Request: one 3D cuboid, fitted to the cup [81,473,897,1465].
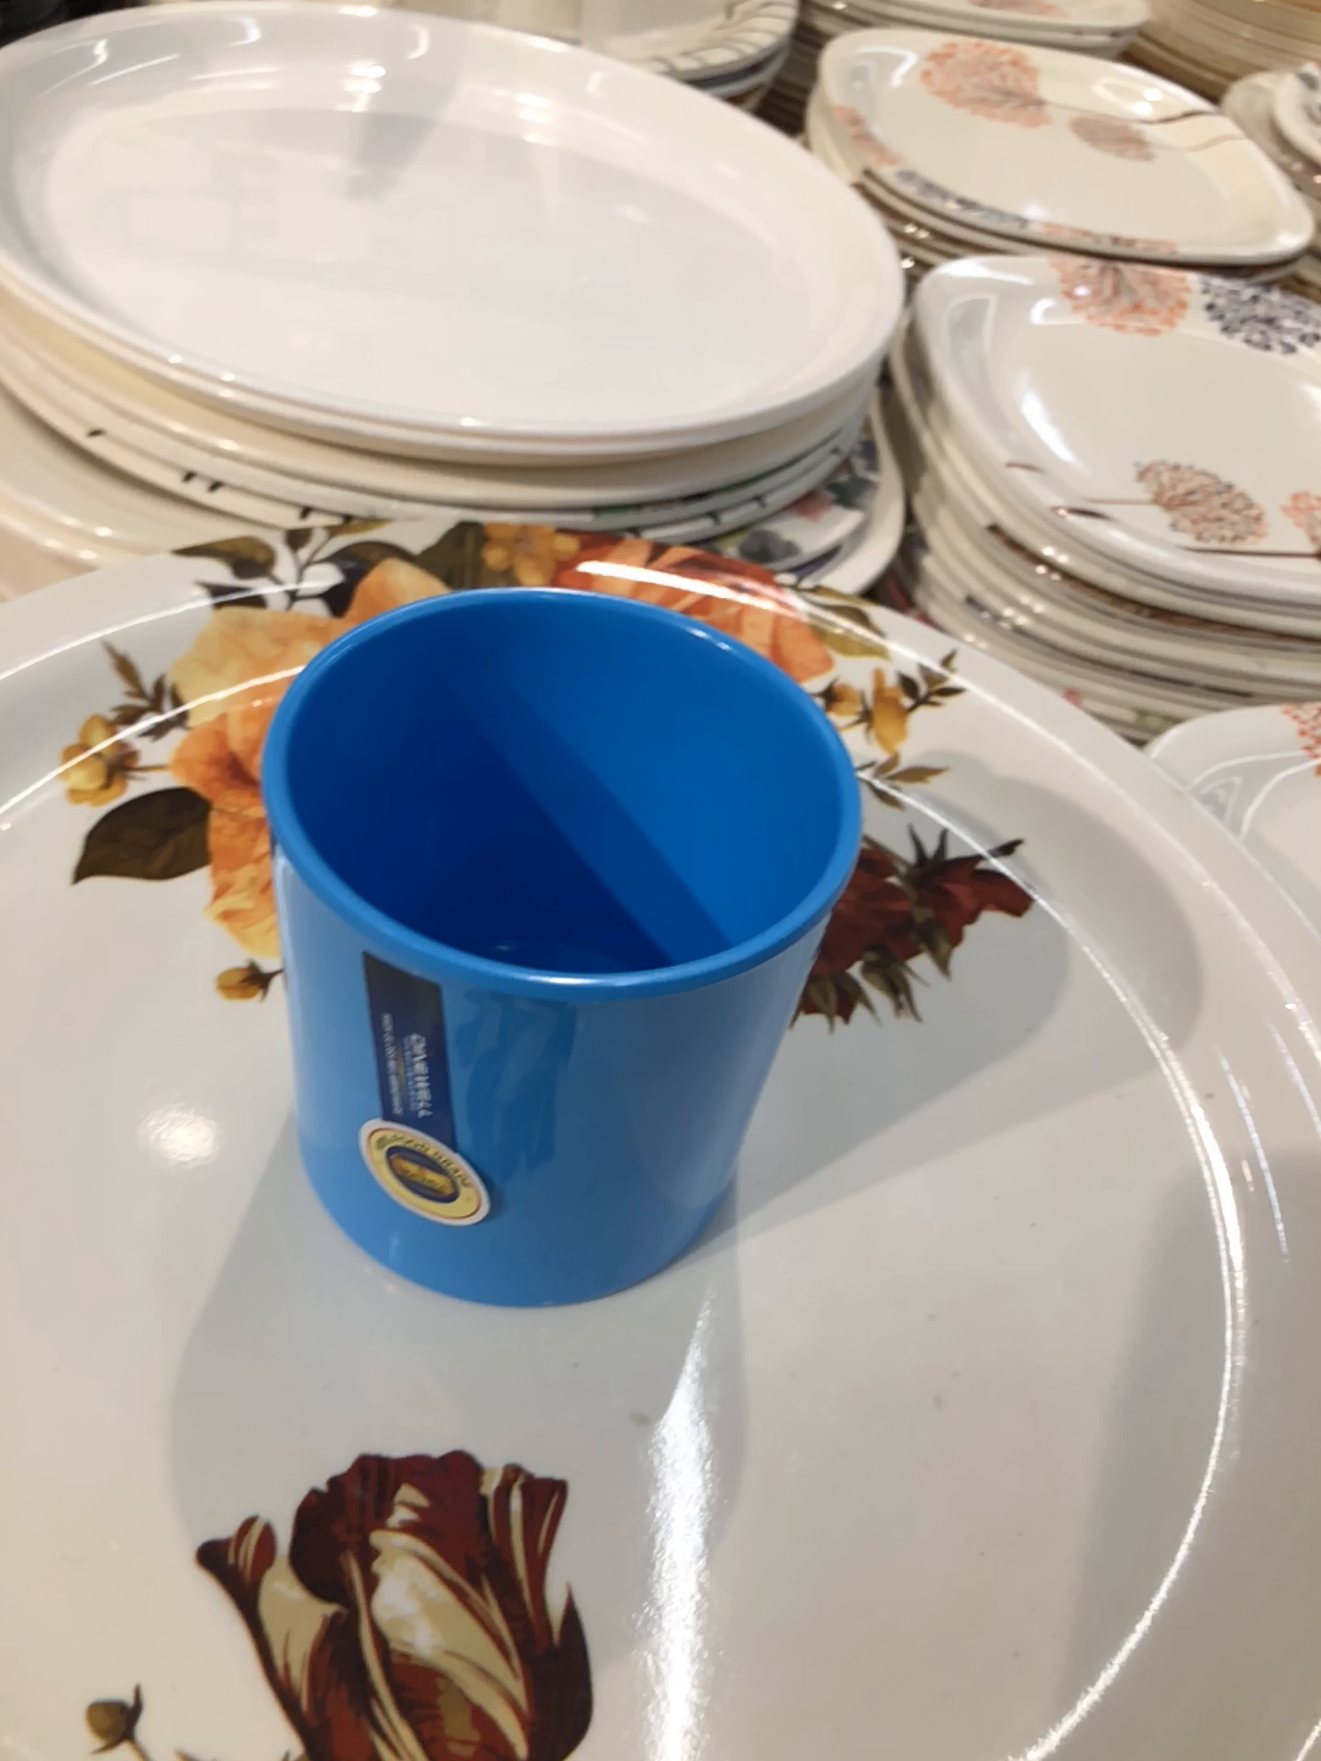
[{"bbox_3d":[-0.022,0.012,0.238,0.080,0.089,0.111,18,47,4],"label":"cup"}]
